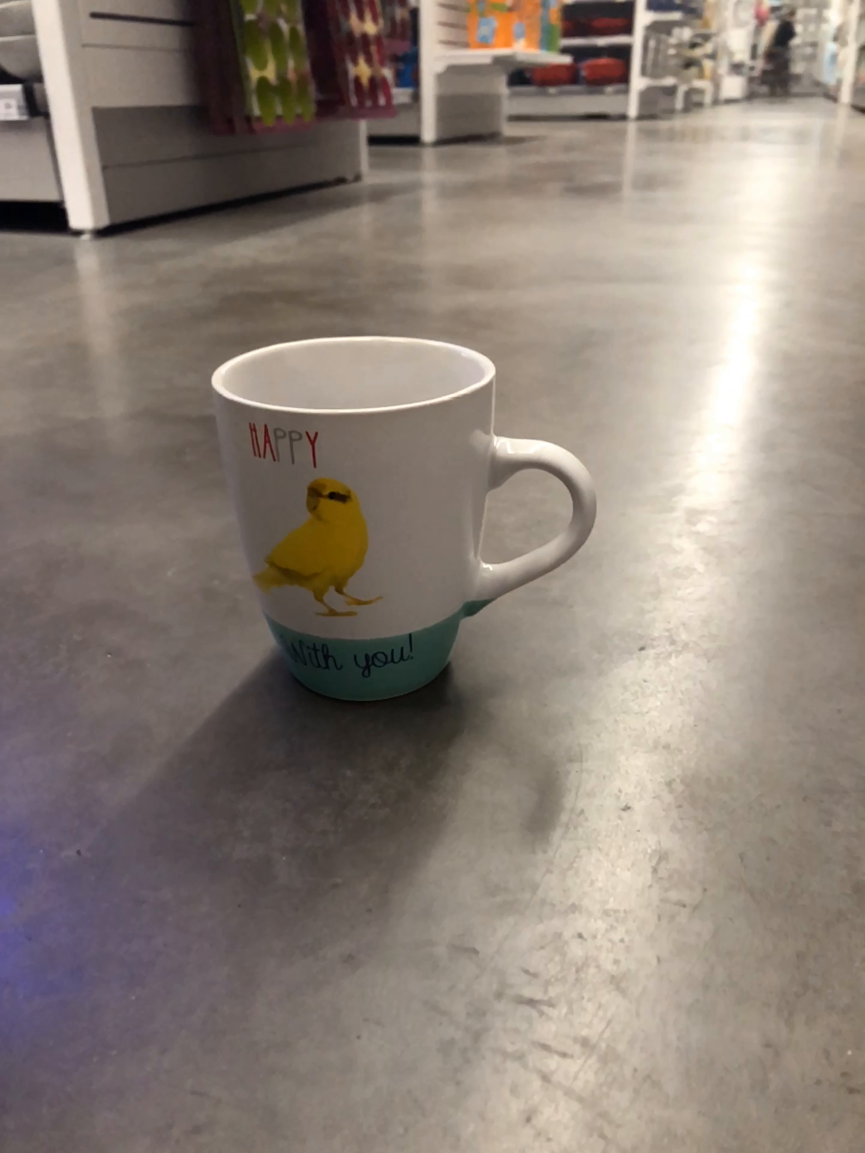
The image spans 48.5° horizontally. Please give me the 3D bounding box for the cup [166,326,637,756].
[{"bbox_3d":[-0.003,-0.020,0.334,0.129,0.107,0.098,6,27,15],"label":"cup"}]
